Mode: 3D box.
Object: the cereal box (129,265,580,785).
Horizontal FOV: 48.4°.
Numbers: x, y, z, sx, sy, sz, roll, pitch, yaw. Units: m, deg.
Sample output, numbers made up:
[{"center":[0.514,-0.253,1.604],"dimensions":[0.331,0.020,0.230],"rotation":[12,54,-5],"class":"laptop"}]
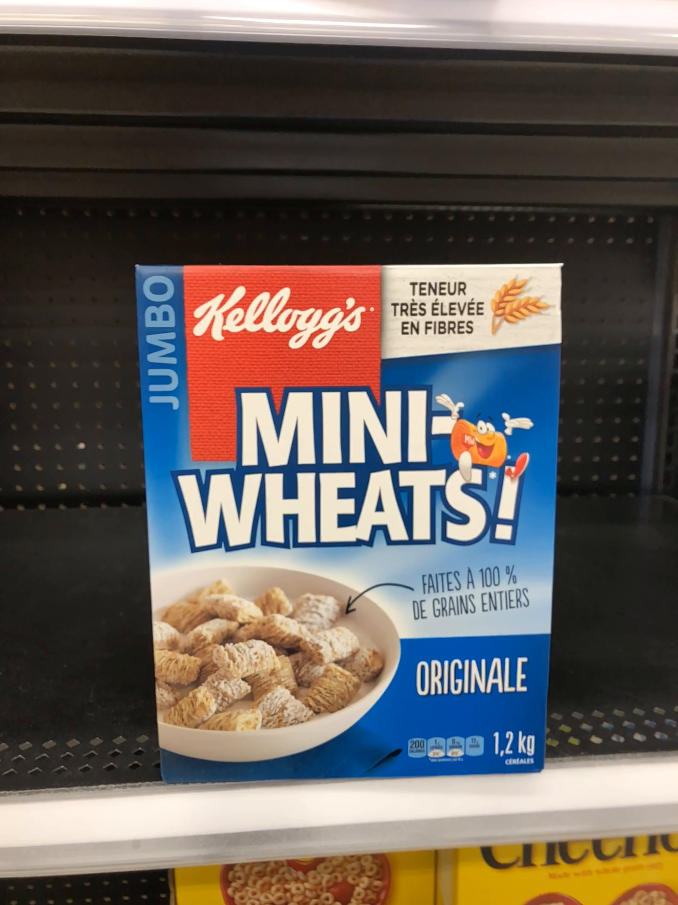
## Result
[{"center":[0.003,0.023,0.439],"dimensions":[0.200,0.249,0.171],"rotation":[-1,11,-4],"class":"cereal box"}]
